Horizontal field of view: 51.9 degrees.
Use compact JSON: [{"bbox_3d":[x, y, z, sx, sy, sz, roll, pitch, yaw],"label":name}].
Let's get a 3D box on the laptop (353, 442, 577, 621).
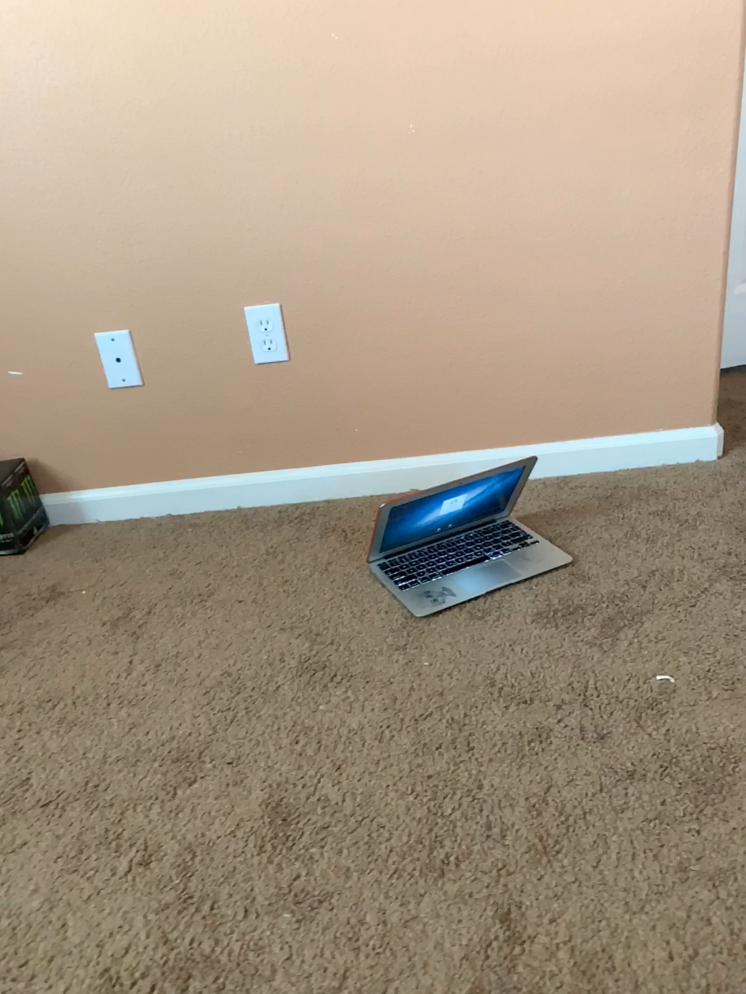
[{"bbox_3d":[0.151,0.045,1.255,0.299,0.148,0.194,-17,27,-20],"label":"laptop"}]
